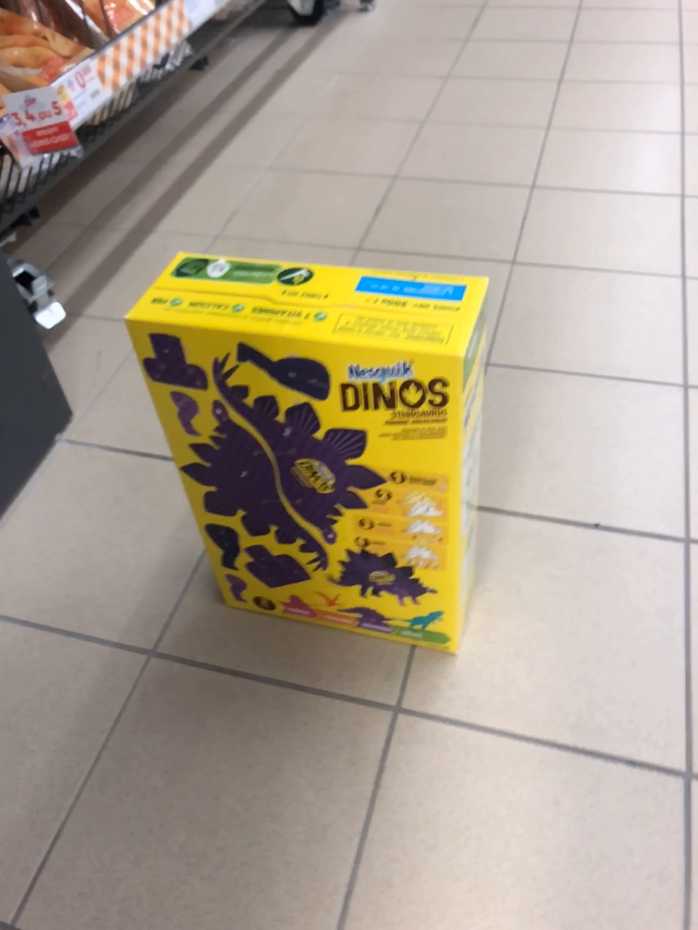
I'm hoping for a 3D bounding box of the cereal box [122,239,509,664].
[{"bbox_3d":[-0.008,0.007,0.526,0.200,0.298,0.070,9,47,14],"label":"cereal box"}]
